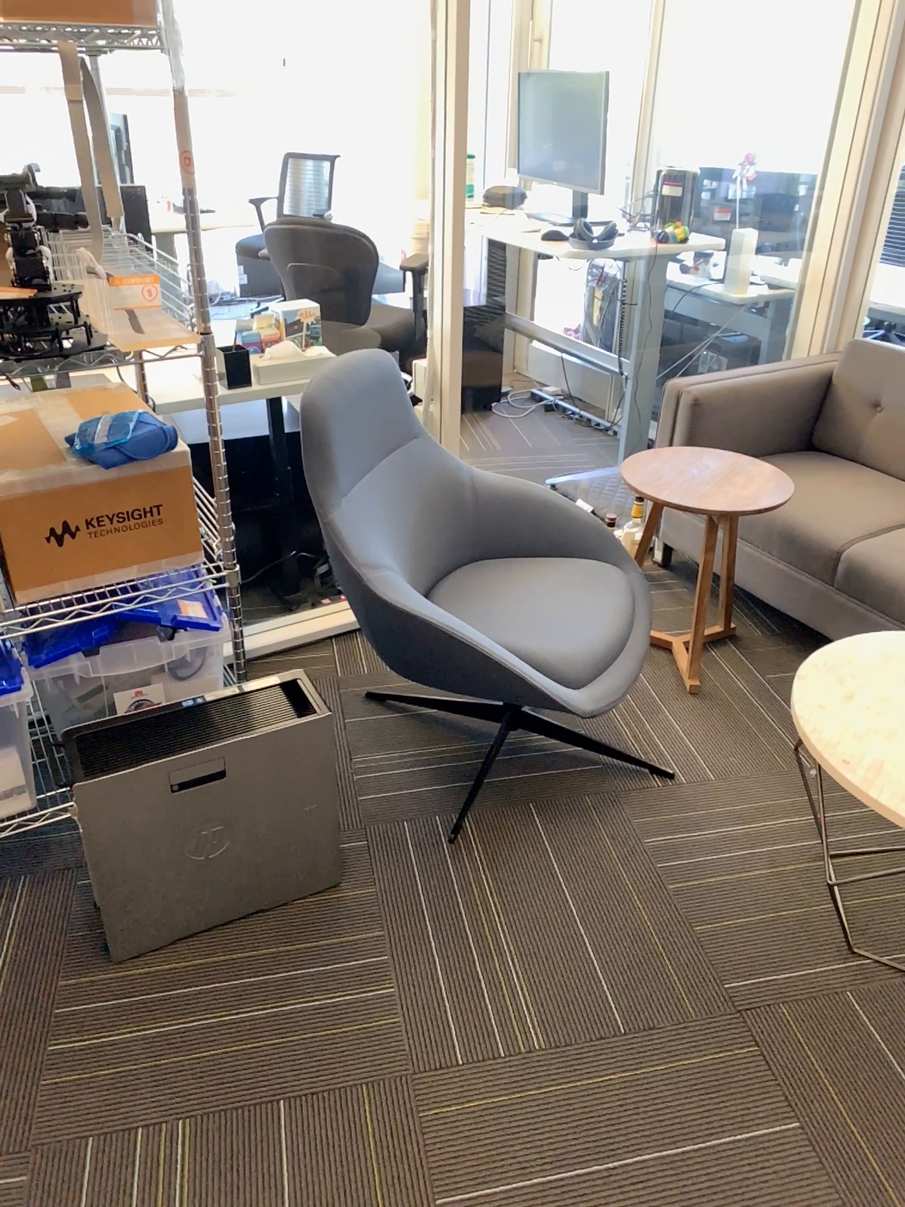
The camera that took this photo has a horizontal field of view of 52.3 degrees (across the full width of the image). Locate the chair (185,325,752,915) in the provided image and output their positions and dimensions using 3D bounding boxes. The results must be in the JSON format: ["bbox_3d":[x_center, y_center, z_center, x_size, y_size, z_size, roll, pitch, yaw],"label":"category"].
[{"bbox_3d":[0.079,-0.045,2.256,1.002,0.964,0.843,13,32,19],"label":"chair"}]
